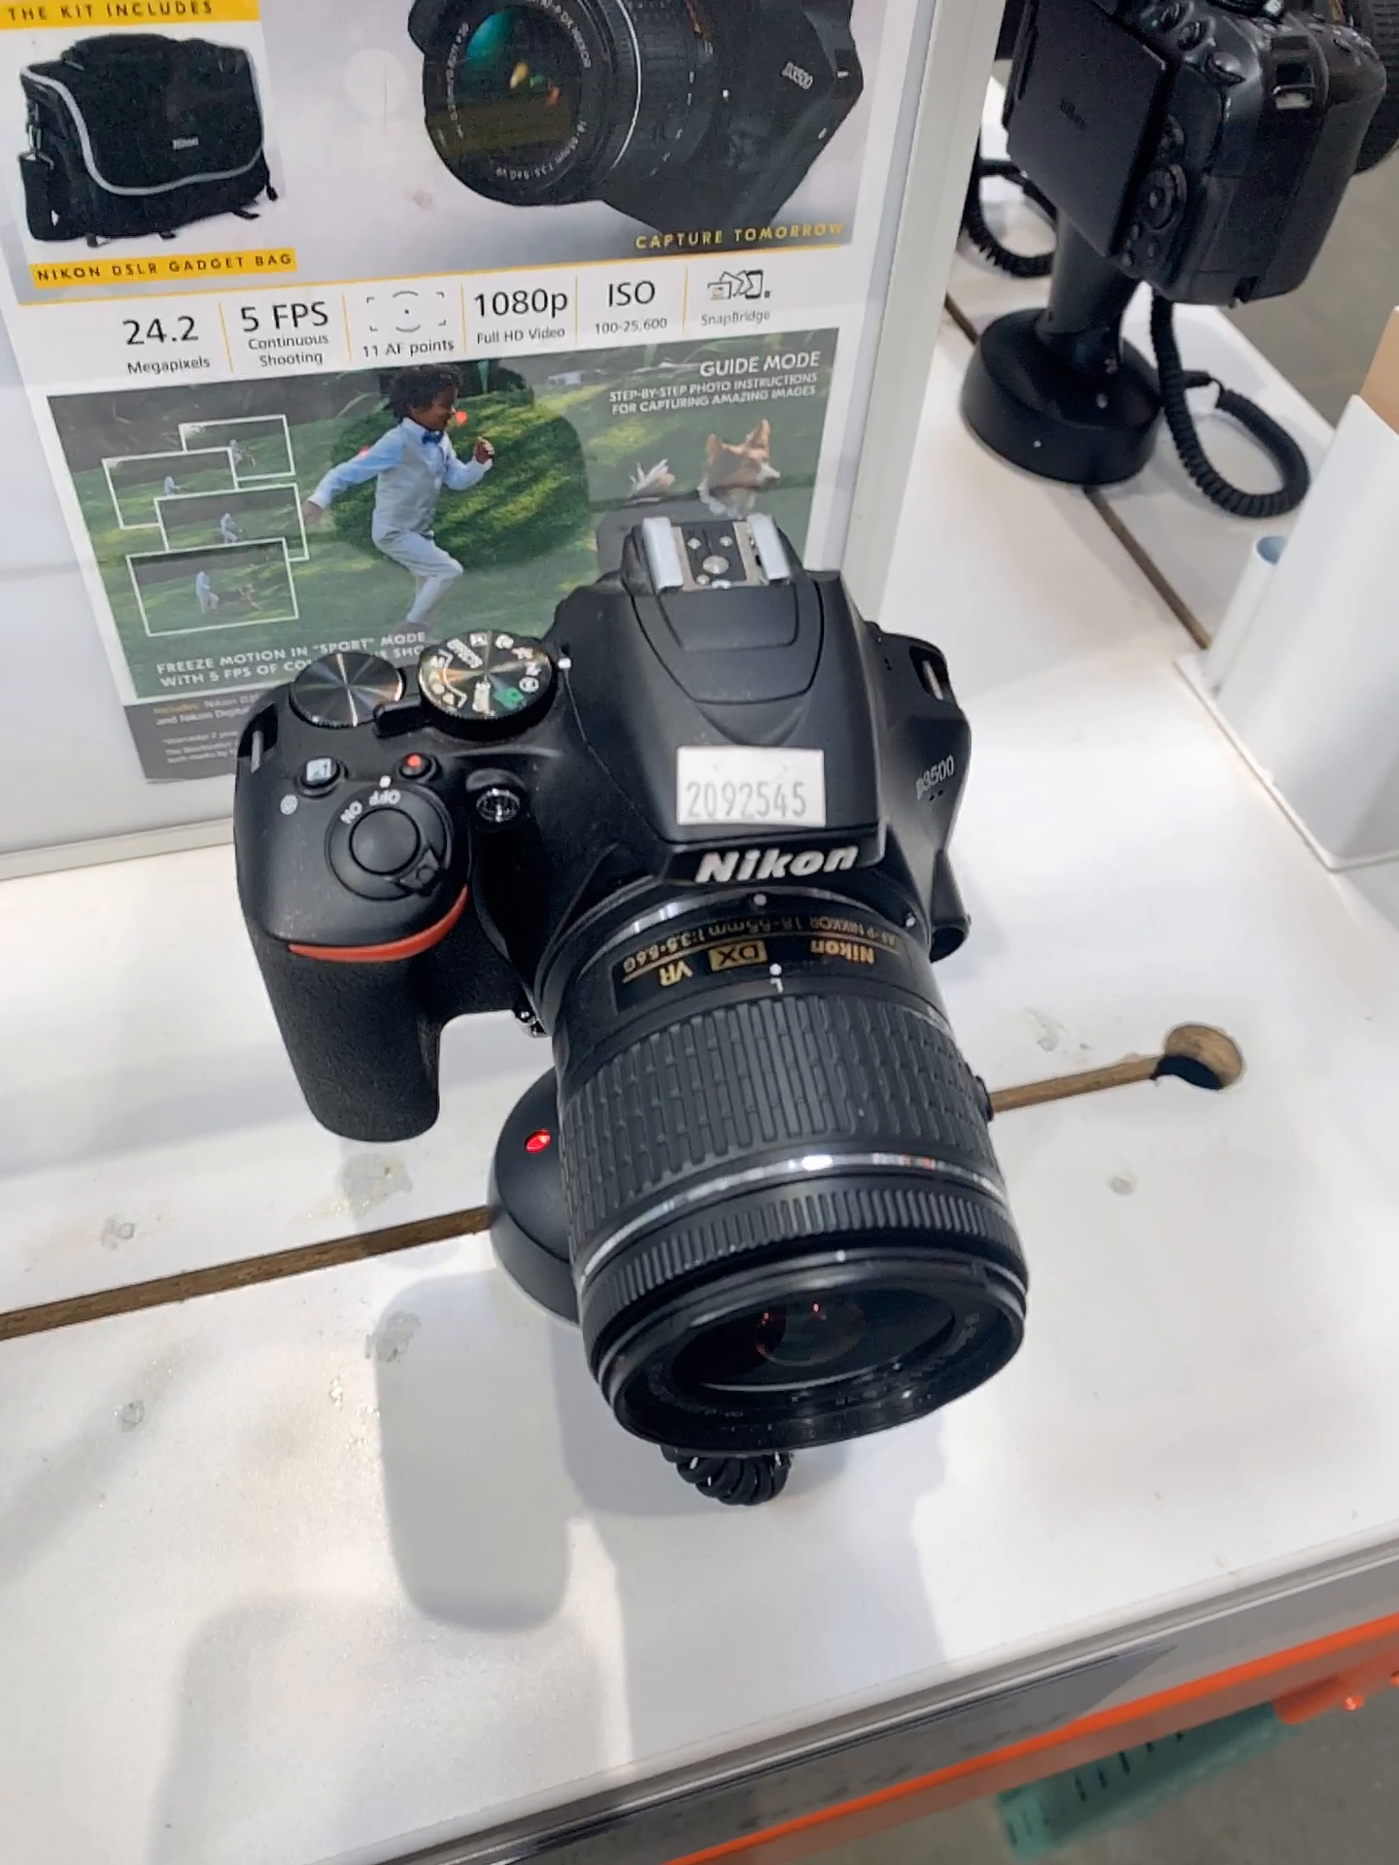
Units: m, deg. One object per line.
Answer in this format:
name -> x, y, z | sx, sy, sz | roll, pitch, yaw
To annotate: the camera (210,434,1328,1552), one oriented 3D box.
camera -> -0.004, 0.006, 0.222 | 0.116, 0.099, 0.121 | -8, 52, -10
